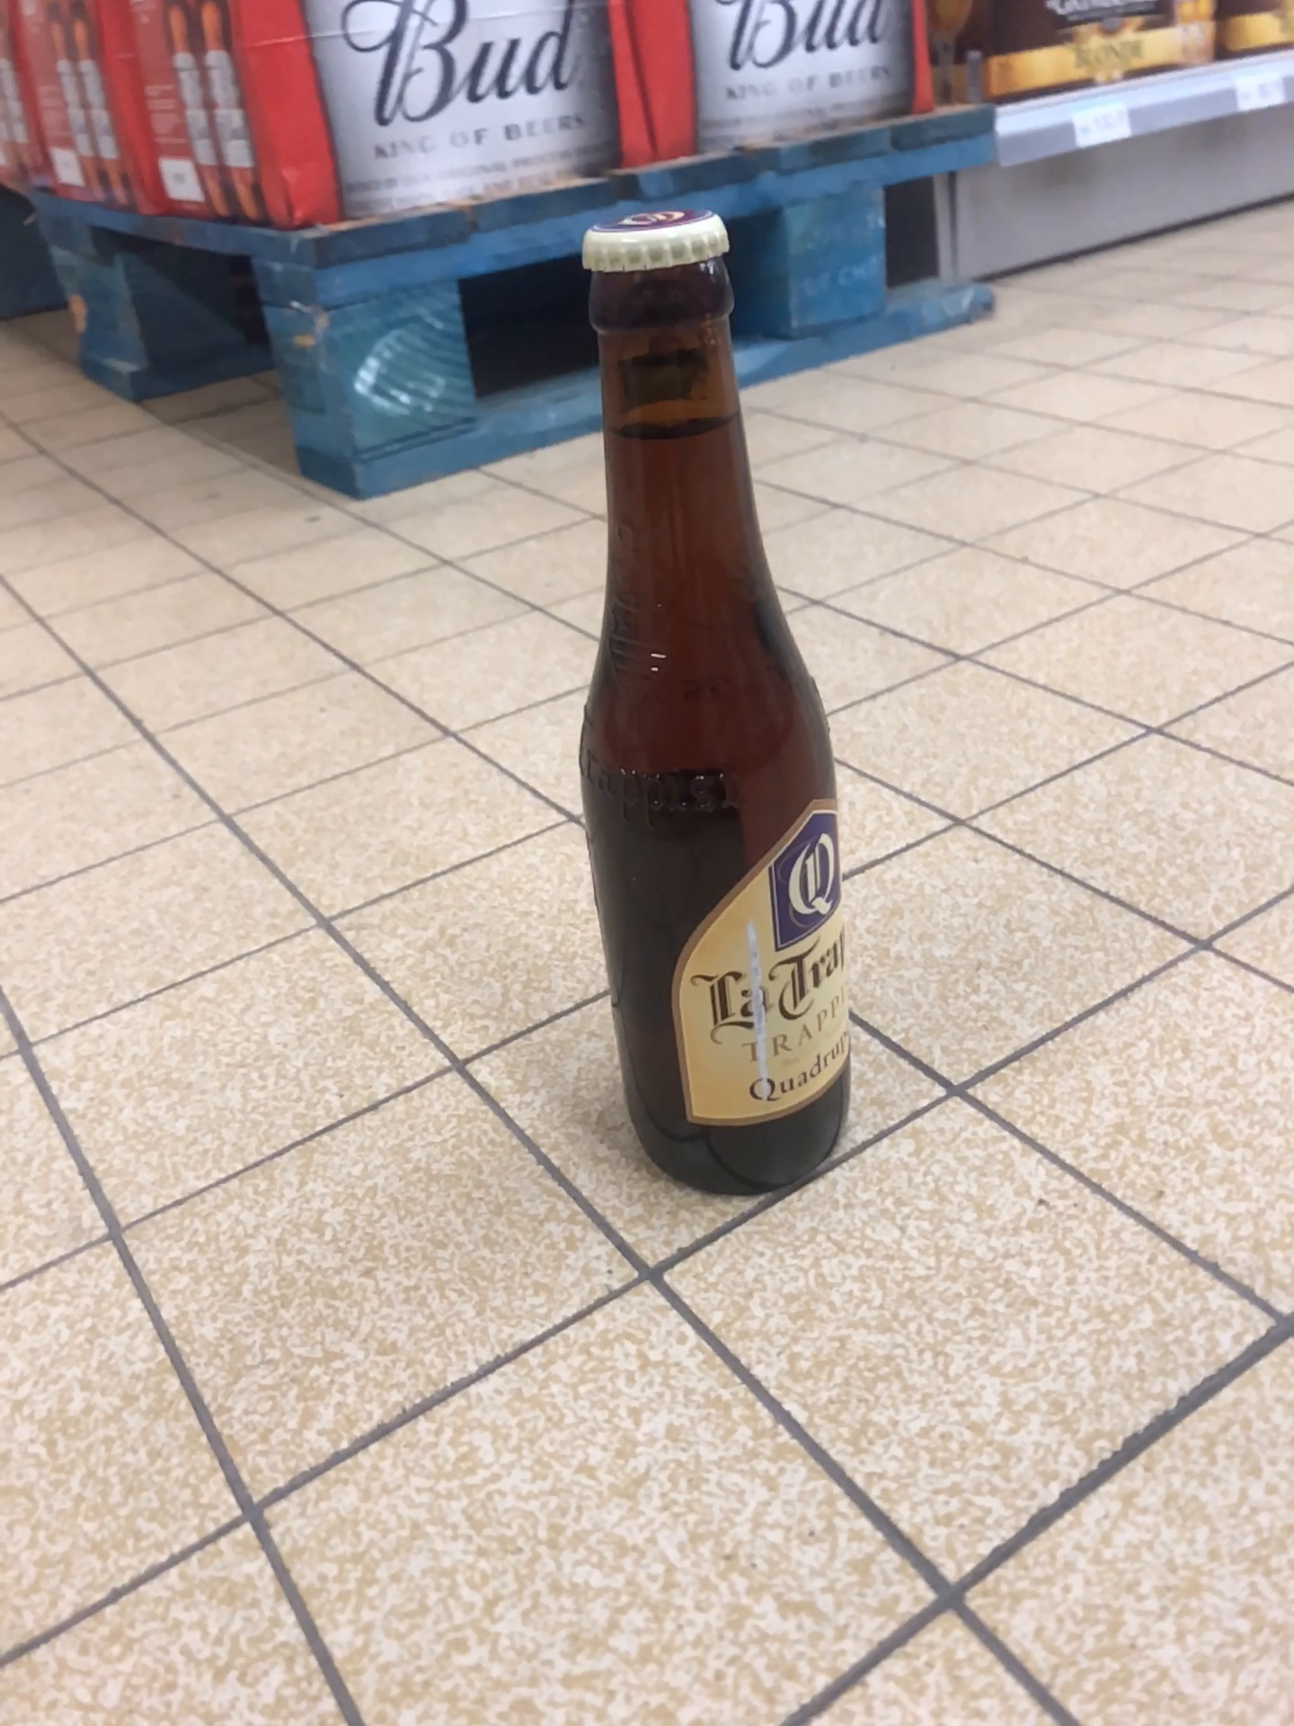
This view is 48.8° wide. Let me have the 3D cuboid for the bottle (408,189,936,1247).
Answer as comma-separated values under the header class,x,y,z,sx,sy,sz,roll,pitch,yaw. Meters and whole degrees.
class,x,y,z,sx,sy,sz,roll,pitch,yaw
bottle,0.016,-0.028,0.326,0.070,0.219,0.070,-5,30,3
